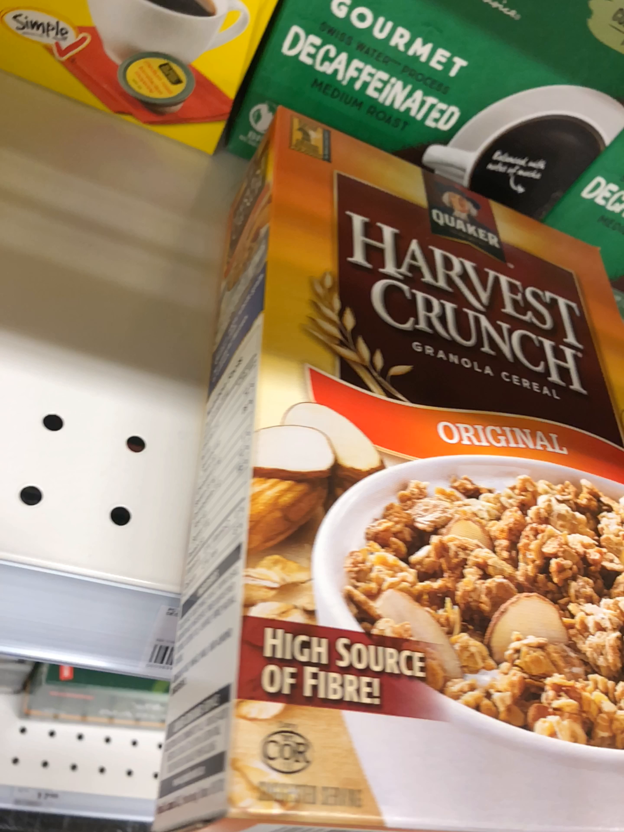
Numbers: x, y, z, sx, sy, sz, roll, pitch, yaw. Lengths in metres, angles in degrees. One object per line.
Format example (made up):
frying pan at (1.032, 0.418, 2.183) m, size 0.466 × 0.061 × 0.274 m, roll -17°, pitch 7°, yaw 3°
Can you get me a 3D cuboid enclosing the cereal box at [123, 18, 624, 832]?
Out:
cereal box at (0.048, -0.009, 0.243) m, size 0.170 × 0.050 × 0.280 m, roll 16°, pitch 51°, yaw -20°
